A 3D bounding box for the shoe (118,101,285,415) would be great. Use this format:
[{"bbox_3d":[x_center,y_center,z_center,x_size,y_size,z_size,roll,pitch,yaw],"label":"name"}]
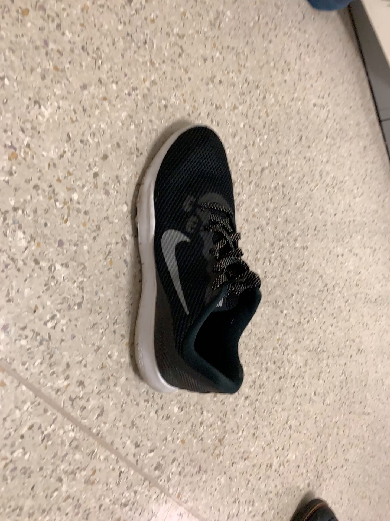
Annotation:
[{"bbox_3d":[0.009,-0.001,0.394,0.114,0.093,0.252,7,87,-45],"label":"shoe"}]
